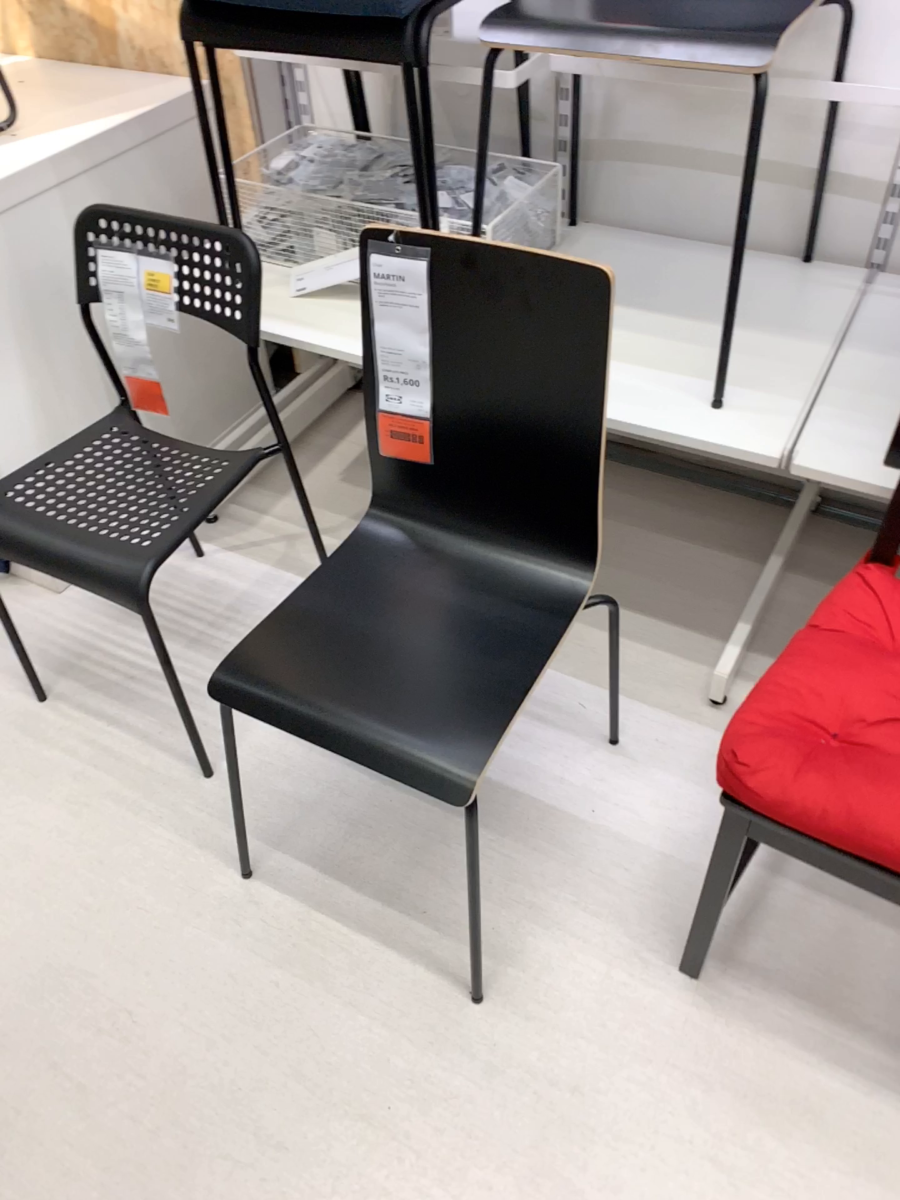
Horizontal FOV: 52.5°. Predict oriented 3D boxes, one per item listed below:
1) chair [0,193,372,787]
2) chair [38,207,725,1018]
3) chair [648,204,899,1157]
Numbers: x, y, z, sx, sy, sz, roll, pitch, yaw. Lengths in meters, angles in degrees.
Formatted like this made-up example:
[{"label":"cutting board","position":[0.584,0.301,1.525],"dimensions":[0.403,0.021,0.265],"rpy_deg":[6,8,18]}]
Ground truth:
[{"label":"chair","position":[-0.511,-0.181,1.537],"dimensions":[0.471,0.727,0.531],"rpy_deg":[19,50,21]},{"label":"chair","position":[-0.018,0.029,1.247],"dimensions":[0.481,0.827,0.591],"rpy_deg":[20,50,22]},{"label":"chair","position":[0.564,0.127,0.996],"dimensions":[0.451,0.857,0.481],"rpy_deg":[21,50,23]}]
